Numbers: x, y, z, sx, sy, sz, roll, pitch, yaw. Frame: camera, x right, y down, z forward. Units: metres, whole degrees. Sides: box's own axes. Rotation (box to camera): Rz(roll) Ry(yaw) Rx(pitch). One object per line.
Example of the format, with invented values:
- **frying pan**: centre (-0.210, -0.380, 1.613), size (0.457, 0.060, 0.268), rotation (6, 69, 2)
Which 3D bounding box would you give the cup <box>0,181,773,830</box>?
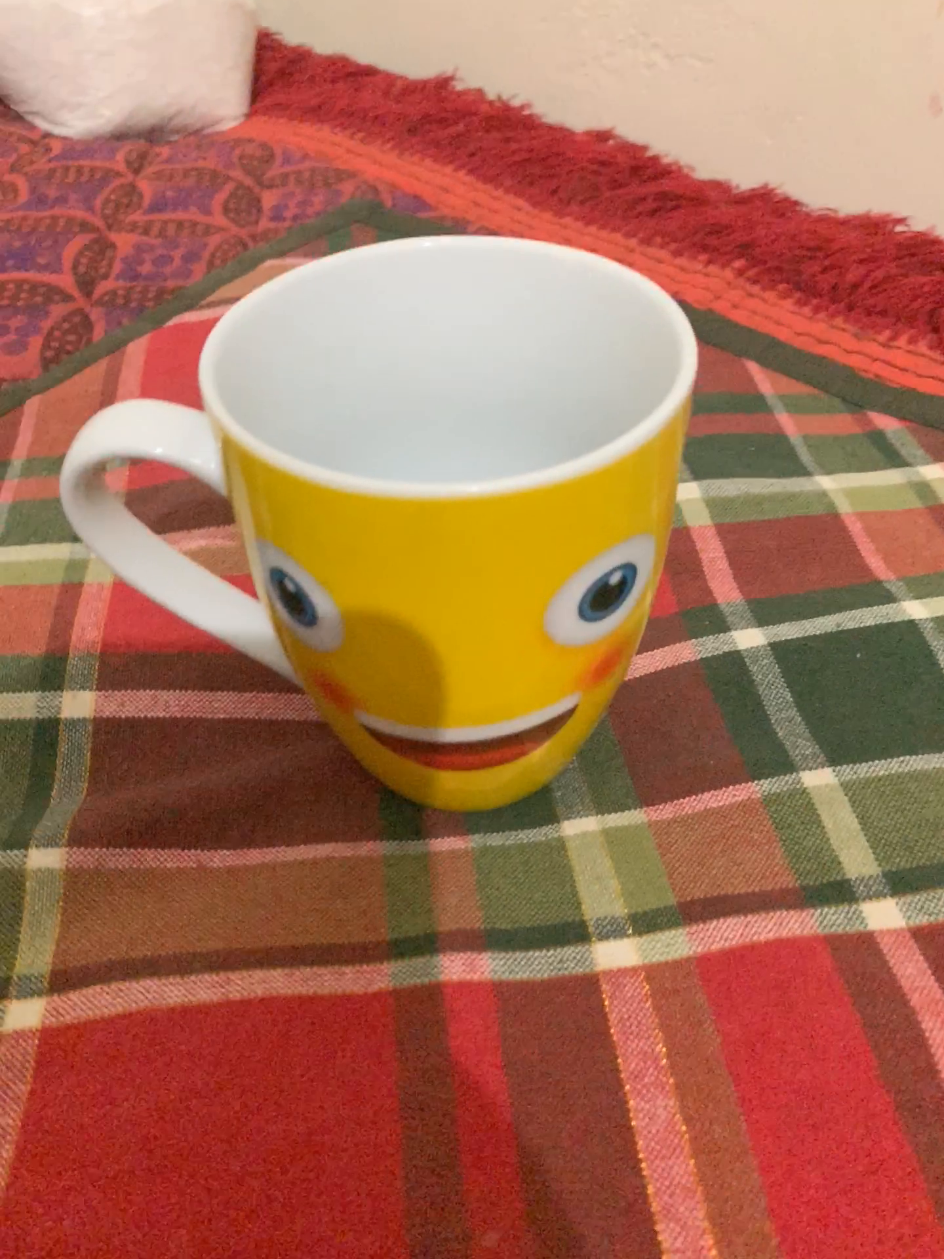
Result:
- **cup**: centre (-0.021, -0.021, 0.176), size (0.120, 0.080, 0.080), rotation (0, 47, 3)
